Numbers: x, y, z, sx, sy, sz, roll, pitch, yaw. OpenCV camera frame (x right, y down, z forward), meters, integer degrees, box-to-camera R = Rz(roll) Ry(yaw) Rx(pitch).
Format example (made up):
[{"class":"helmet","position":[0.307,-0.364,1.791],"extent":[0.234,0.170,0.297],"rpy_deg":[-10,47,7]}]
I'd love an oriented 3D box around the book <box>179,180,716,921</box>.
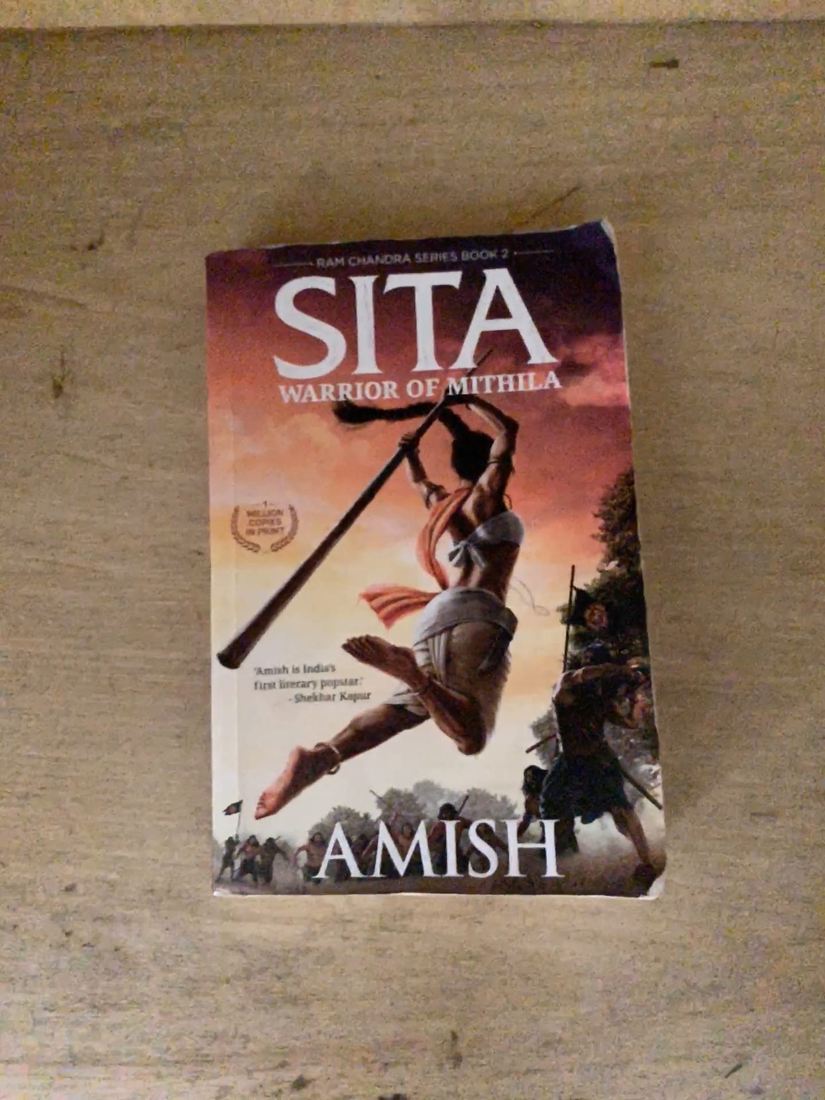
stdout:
[{"class":"book","position":[0.005,-0.002,0.252],"extent":[0.140,0.030,0.200],"rpy_deg":[-3,82,4]}]
